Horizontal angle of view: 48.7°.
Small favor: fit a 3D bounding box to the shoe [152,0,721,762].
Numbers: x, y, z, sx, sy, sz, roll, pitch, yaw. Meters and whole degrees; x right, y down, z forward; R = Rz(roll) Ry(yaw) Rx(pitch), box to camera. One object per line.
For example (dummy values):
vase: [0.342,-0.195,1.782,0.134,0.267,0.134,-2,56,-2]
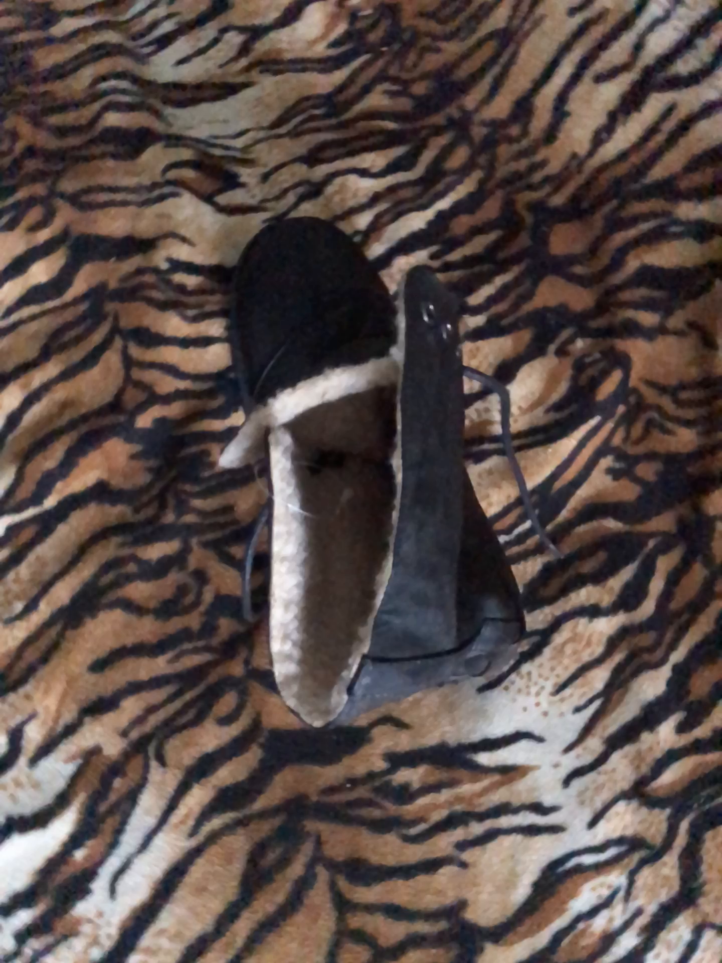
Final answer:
shoe: [0.024,-0.042,0.423,0.140,0.200,0.330,-20,74,-11]
